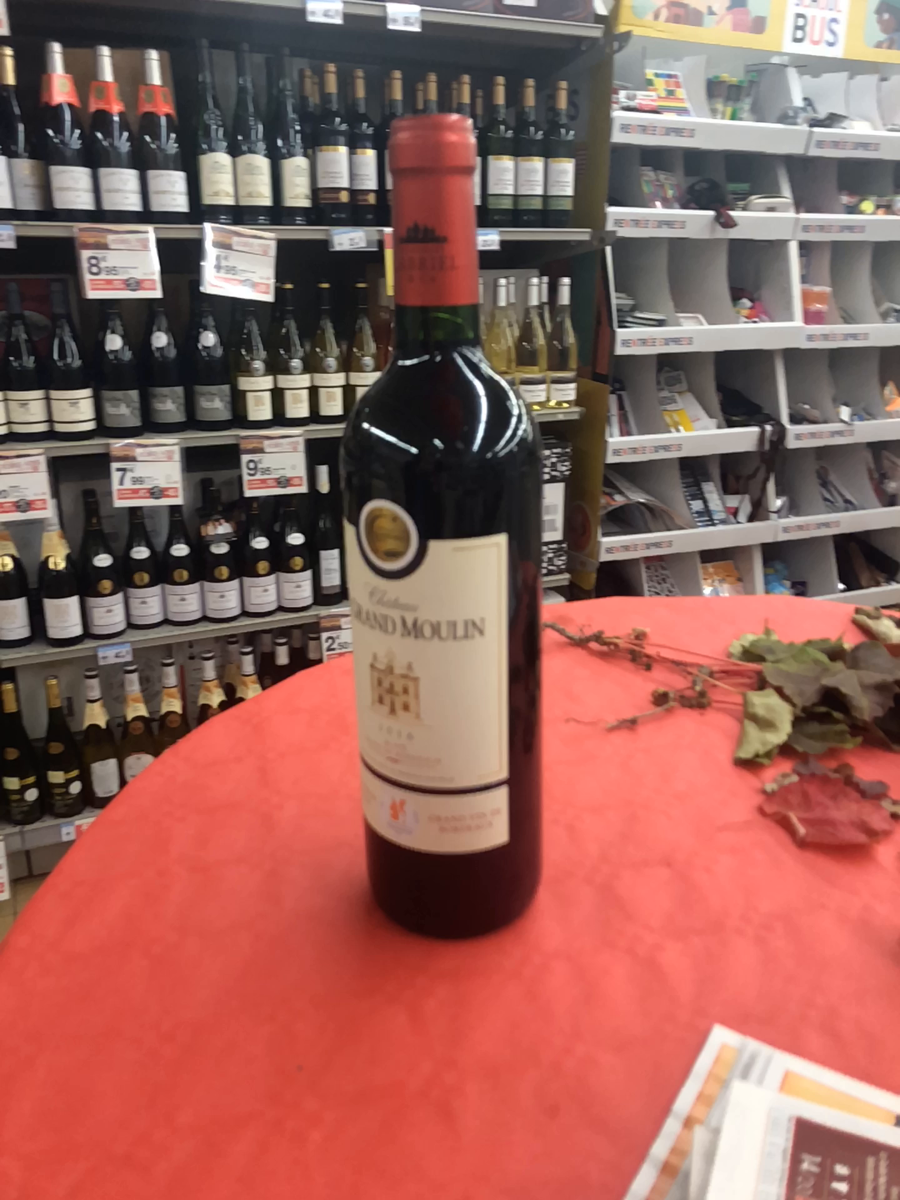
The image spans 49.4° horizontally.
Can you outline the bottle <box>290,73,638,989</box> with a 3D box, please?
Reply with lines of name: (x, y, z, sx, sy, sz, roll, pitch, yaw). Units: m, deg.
bottle: (0.005, -0.018, 0.360, 0.080, 0.299, 0.080, 0, 20, 0)
